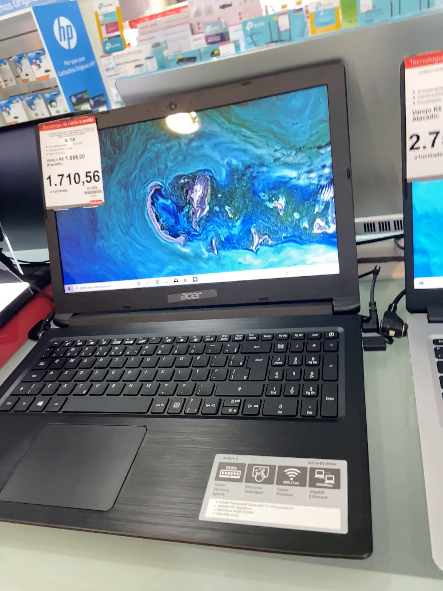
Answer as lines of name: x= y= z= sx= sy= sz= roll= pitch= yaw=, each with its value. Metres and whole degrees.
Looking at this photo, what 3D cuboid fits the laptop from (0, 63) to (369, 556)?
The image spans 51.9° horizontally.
laptop: x=-0.075 y=-0.031 z=0.427 sx=0.377 sy=0.216 sz=0.381 roll=-4 pitch=33 yaw=18
